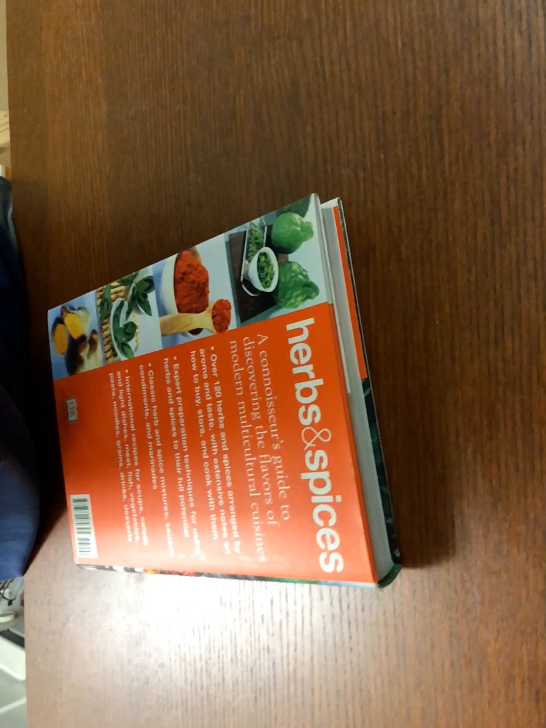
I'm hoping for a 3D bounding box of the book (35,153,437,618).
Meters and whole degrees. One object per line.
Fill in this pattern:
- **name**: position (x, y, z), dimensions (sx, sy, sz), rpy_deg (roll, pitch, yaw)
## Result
- **book**: position (-0.049, 0.027, 0.371), dimensions (0.271, 0.040, 0.210), rpy_deg (-12, 83, 39)
